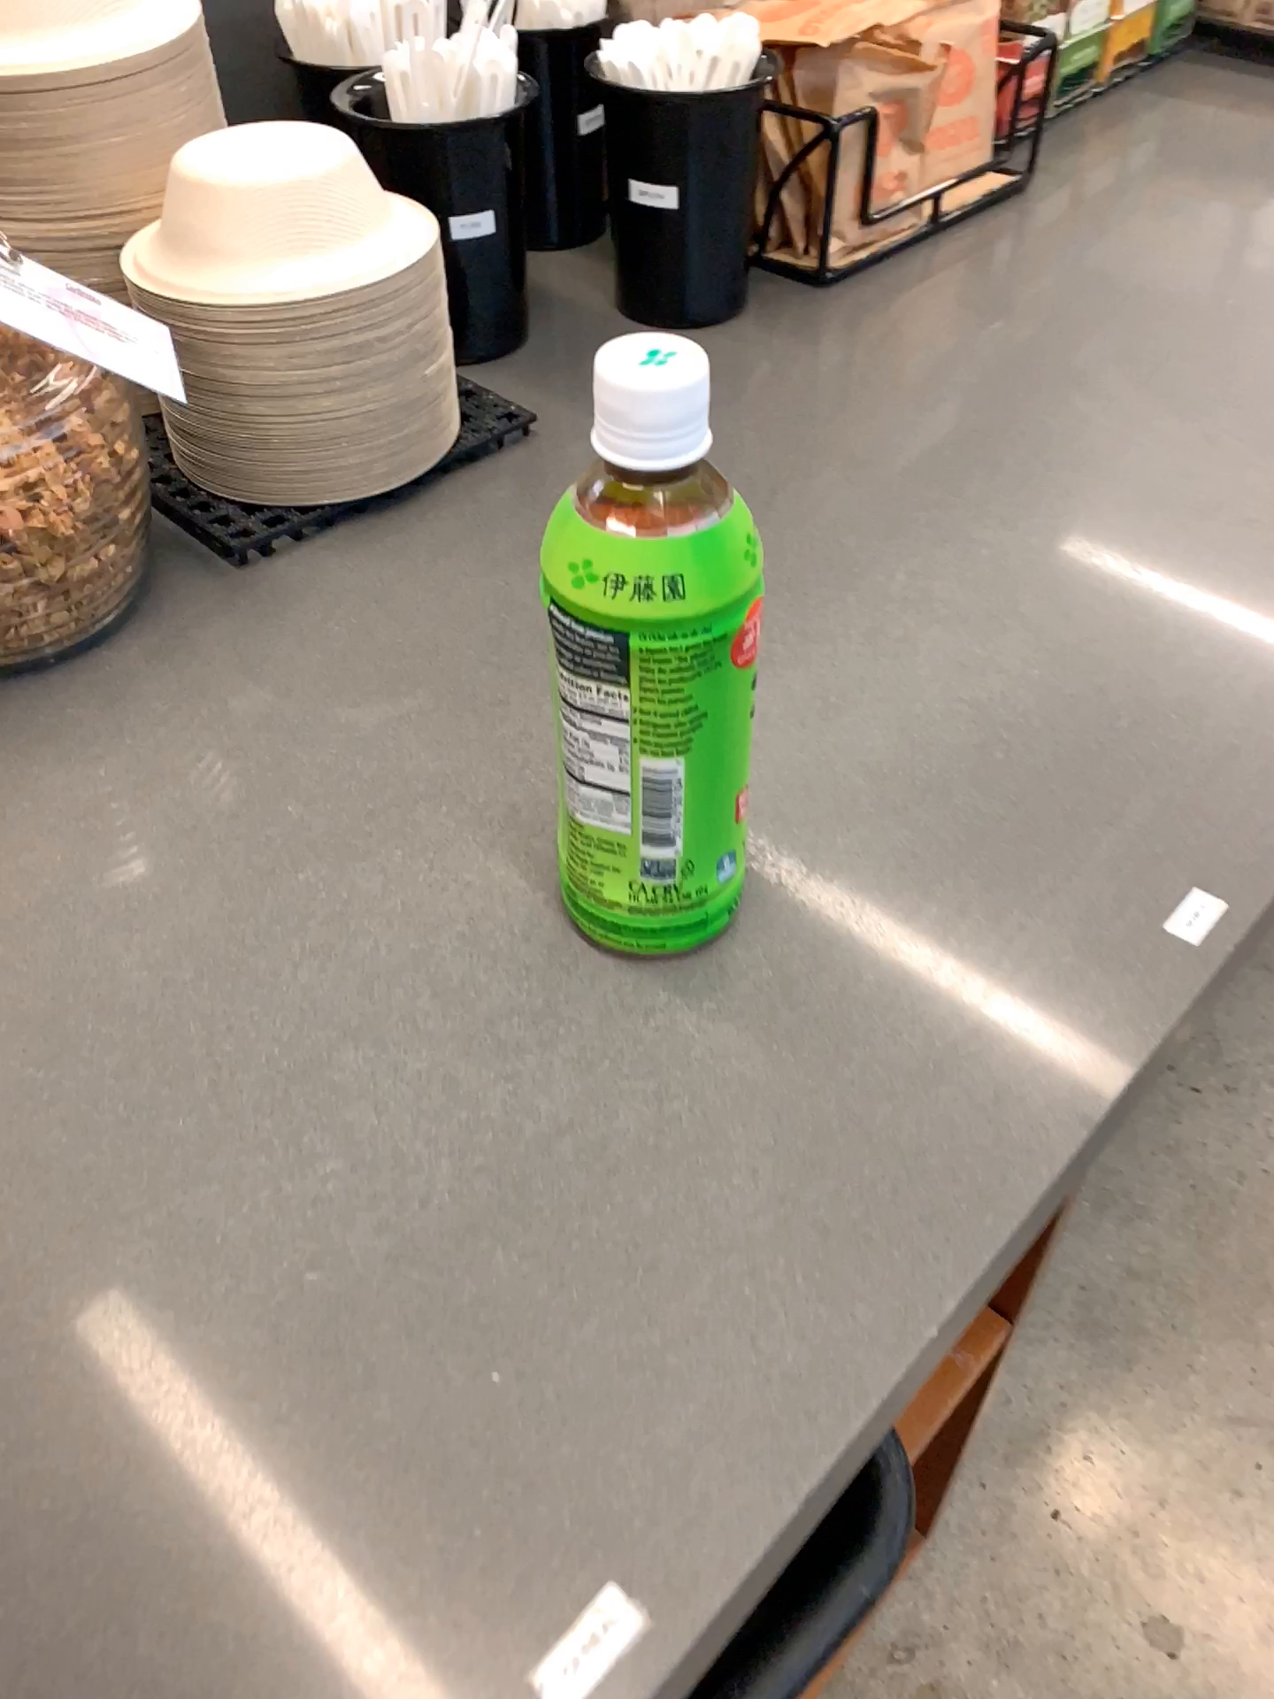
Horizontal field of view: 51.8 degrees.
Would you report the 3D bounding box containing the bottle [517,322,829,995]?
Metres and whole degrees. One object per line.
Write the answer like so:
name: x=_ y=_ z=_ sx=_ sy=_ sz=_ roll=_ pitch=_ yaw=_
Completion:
bottle: x=0.008 y=-0.048 z=0.408 sx=0.070 sy=0.199 sz=0.070 roll=0 pitch=45 yaw=0
